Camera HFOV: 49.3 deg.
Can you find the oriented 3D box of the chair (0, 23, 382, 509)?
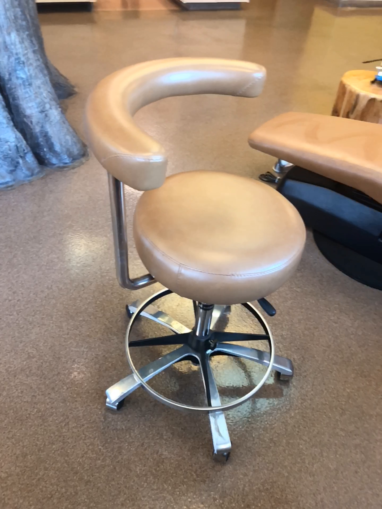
[{"bbox_3d":[0.041,0.017,0.986,0.591,0.804,0.613,23,45,18],"label":"chair"}]
